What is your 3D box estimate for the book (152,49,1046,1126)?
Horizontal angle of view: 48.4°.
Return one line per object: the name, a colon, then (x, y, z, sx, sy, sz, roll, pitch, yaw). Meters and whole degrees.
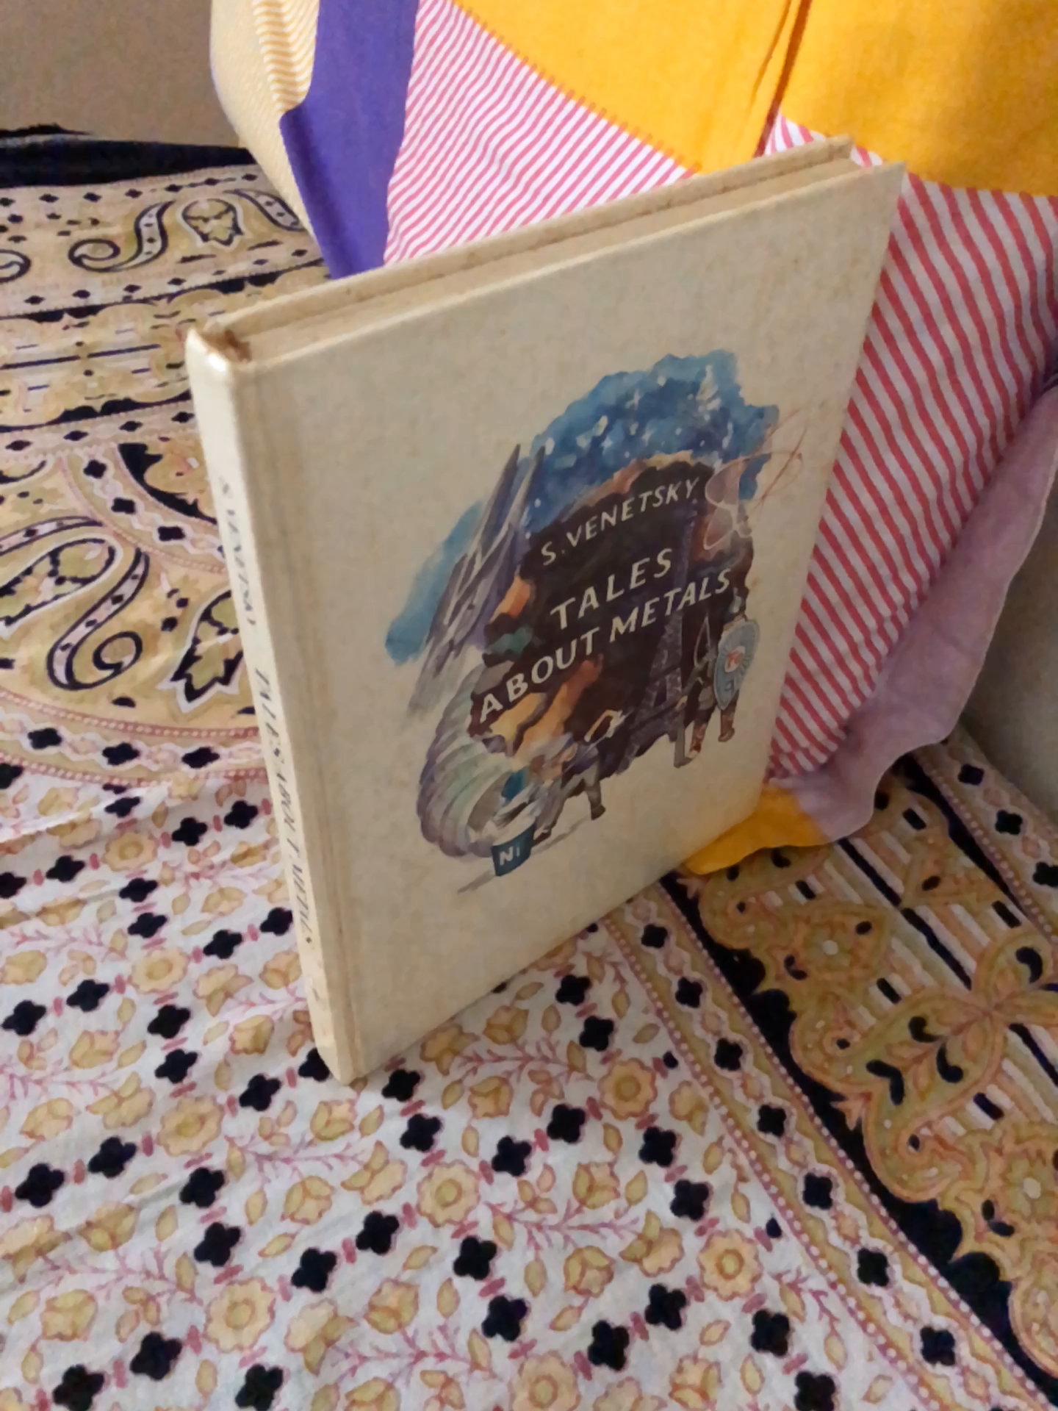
book: (0.016, -0.023, 0.312, 0.190, 0.249, 0.050, -24, 50, -31)
